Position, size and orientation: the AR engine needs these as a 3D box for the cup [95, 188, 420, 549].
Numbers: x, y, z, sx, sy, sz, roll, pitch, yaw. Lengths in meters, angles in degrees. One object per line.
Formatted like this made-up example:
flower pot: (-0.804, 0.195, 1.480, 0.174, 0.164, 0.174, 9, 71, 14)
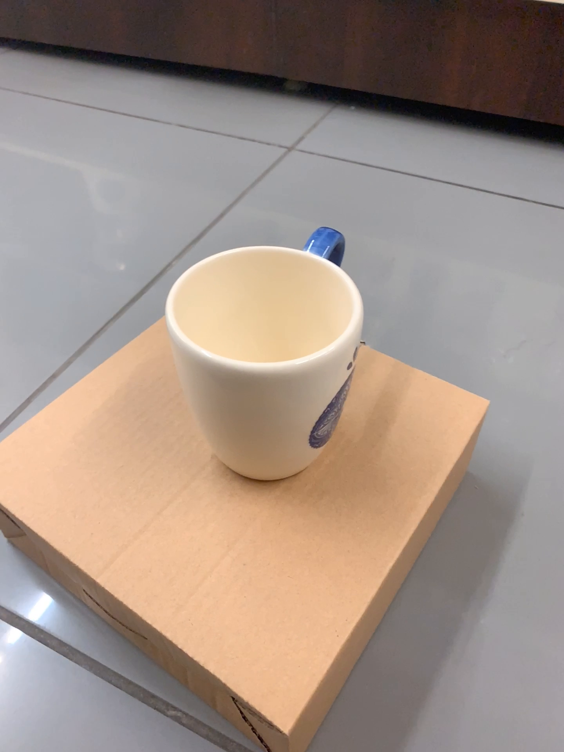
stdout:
cup: (-0.002, -0.012, 0.292, 0.090, 0.090, 0.140, 19, 49, 18)
